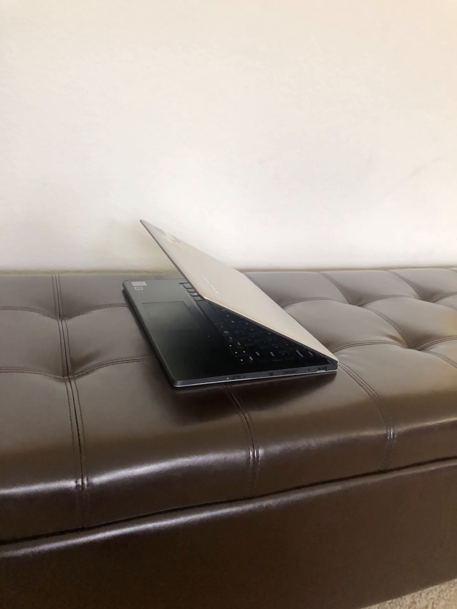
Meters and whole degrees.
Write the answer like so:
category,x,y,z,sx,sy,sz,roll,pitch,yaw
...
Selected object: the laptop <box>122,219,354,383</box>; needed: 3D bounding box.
category,x,y,z,sx,sy,sz,roll,pitch,yaw
laptop,-0.012,-0.026,0.667,0.197,0.097,0.294,-3,25,-22
